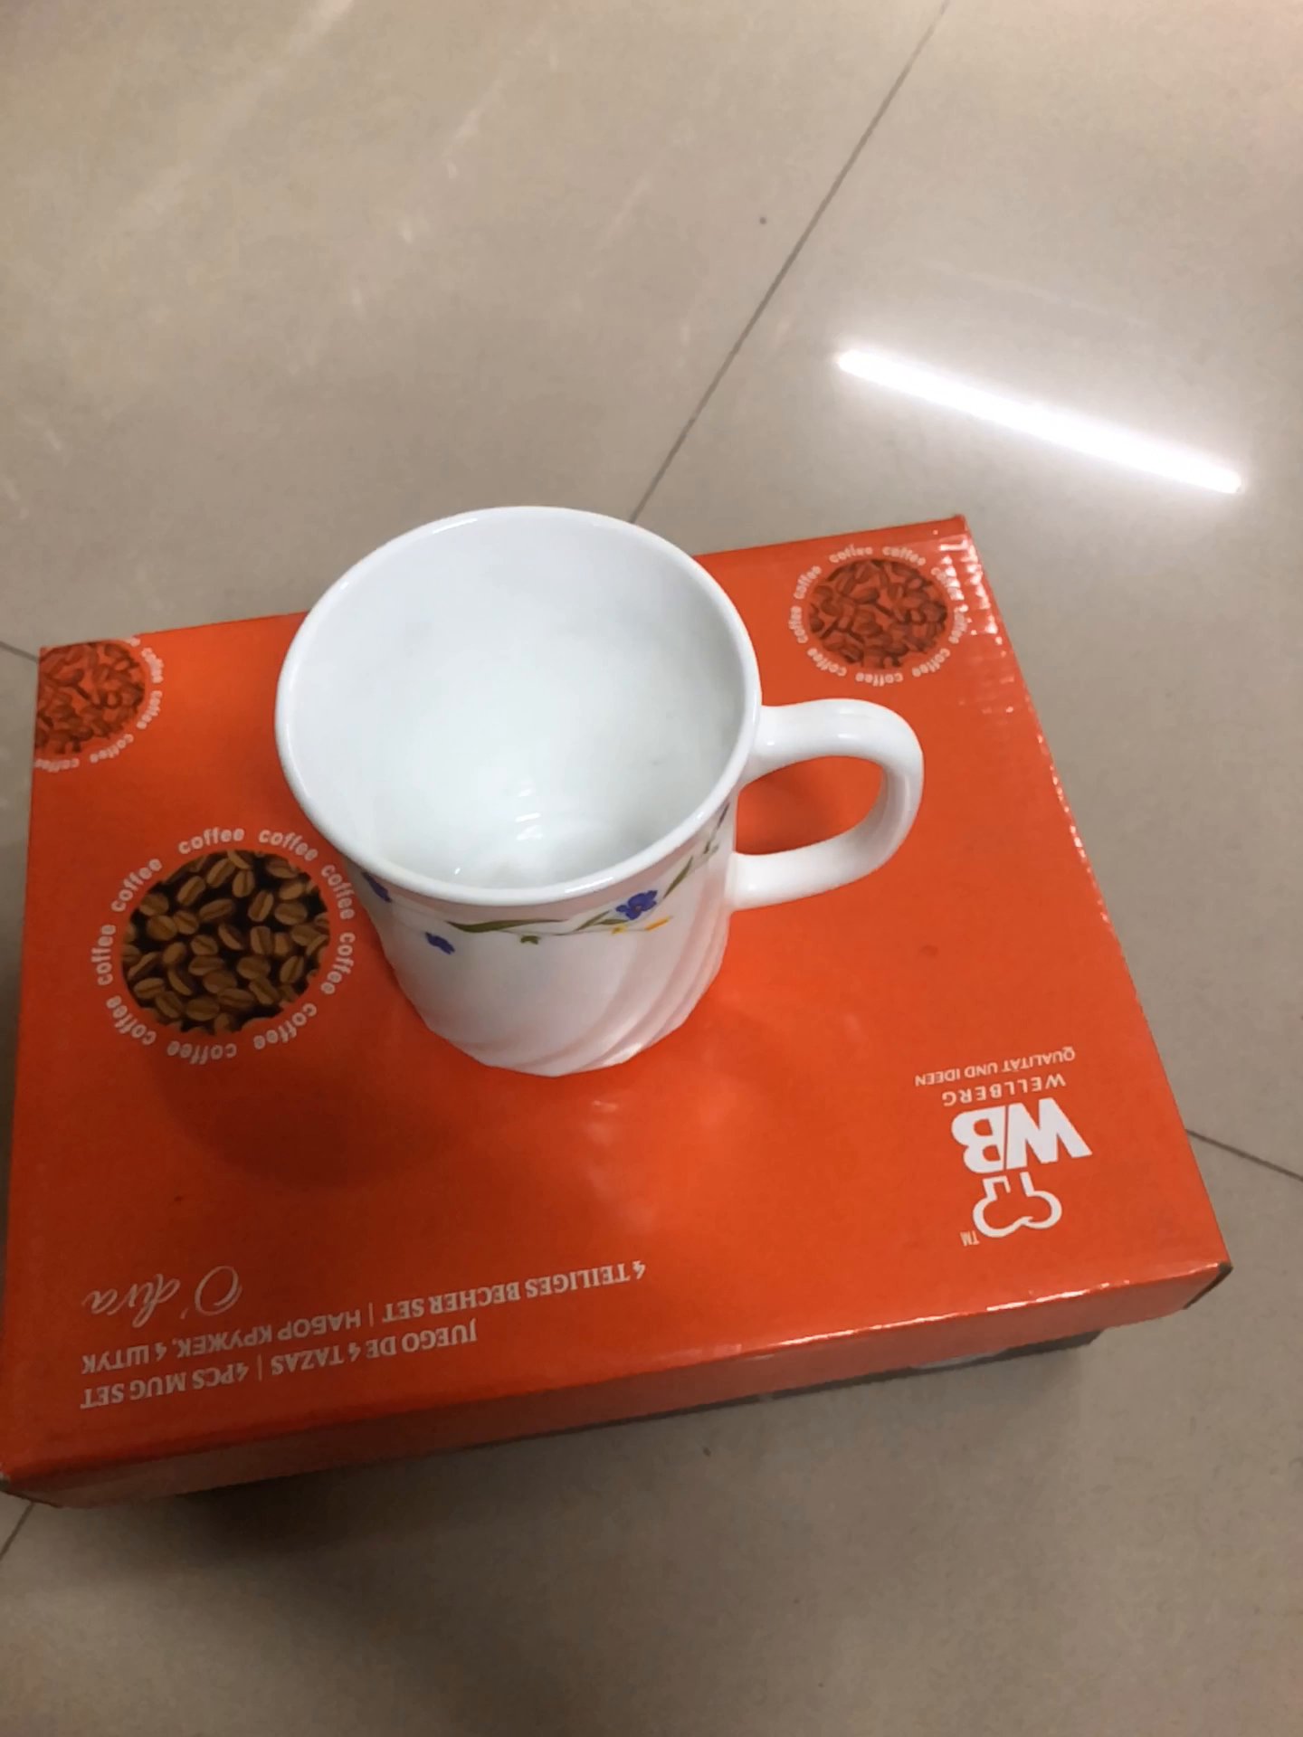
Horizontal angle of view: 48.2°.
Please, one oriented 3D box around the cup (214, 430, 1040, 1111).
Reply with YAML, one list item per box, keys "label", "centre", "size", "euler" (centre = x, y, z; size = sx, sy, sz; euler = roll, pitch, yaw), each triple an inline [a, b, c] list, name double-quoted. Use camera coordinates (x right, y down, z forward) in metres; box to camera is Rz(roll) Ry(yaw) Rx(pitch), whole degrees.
- label: "cup"
  centre: [-0.003, -0.014, 0.272]
  size: [0.120, 0.090, 0.090]
  euler: [-2, 62, 1]
